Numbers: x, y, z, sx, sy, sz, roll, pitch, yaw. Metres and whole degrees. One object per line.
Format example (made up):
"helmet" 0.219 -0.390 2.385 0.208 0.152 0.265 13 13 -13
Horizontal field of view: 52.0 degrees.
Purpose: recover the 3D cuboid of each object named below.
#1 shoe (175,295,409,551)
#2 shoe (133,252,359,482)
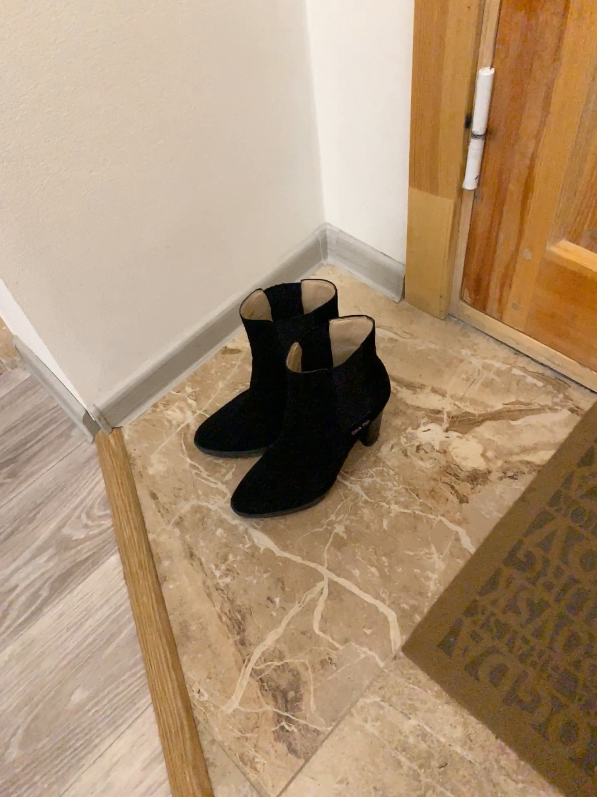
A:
"shoe" 0.006 0.032 0.666 0.214 0.198 0.087 -31 56 -15
"shoe" -0.048 -0.030 0.714 0.214 0.198 0.087 -24 54 -10
